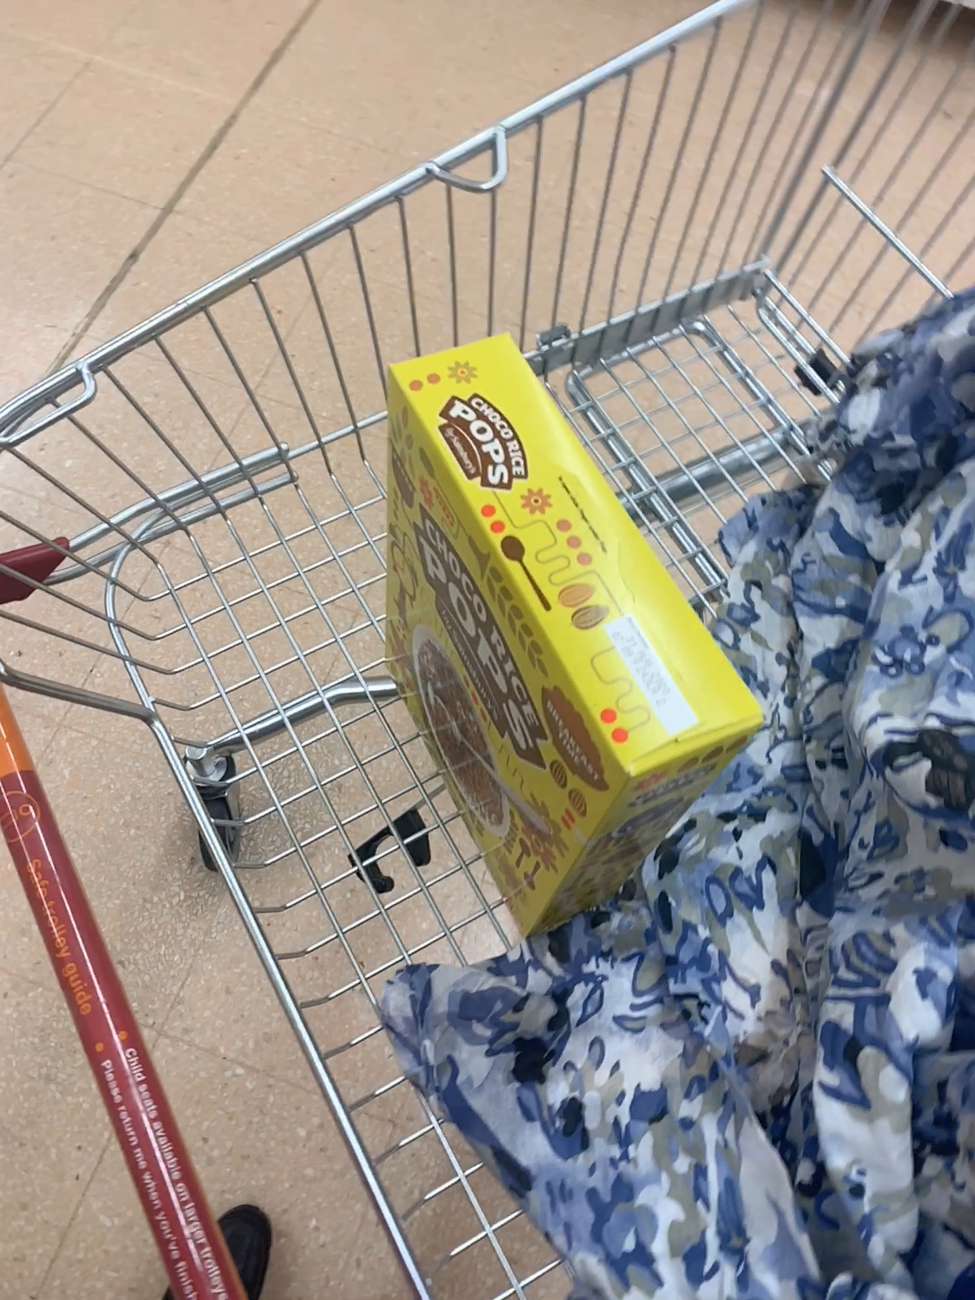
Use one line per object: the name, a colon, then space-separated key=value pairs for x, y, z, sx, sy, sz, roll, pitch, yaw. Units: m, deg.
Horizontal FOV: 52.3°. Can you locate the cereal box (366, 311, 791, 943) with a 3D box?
cereal box: x=0.014 y=0.013 z=0.483 sx=0.060 sy=0.268 sz=0.201 roll=-23 pitch=69 yaw=-18
